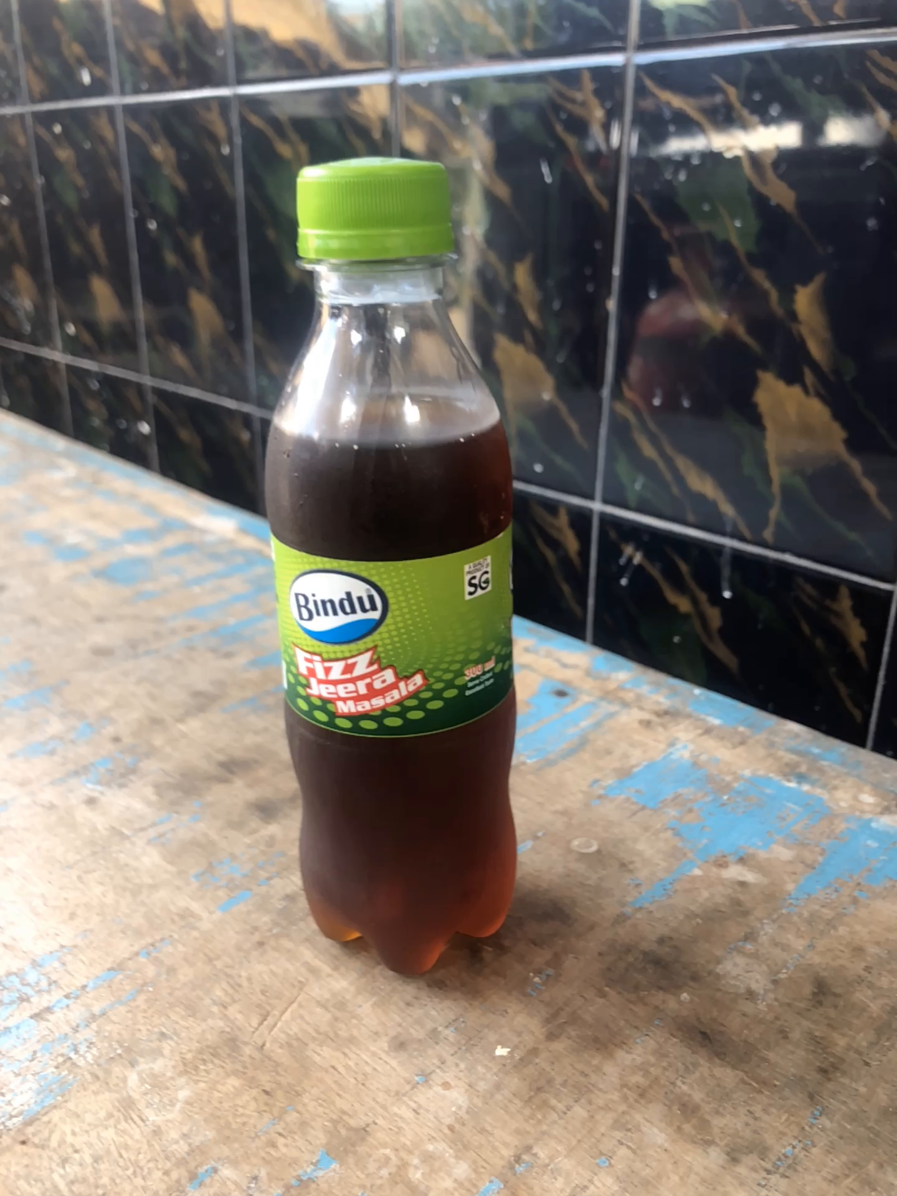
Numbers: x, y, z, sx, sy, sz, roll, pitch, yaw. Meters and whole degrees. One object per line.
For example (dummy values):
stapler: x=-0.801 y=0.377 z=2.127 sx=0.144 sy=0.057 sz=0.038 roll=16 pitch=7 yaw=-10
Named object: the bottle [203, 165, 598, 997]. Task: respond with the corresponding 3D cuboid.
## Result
bottle: x=-0.007 y=-0.005 z=0.239 sx=0.060 sy=0.179 sz=0.060 roll=0 pitch=22 yaw=0
